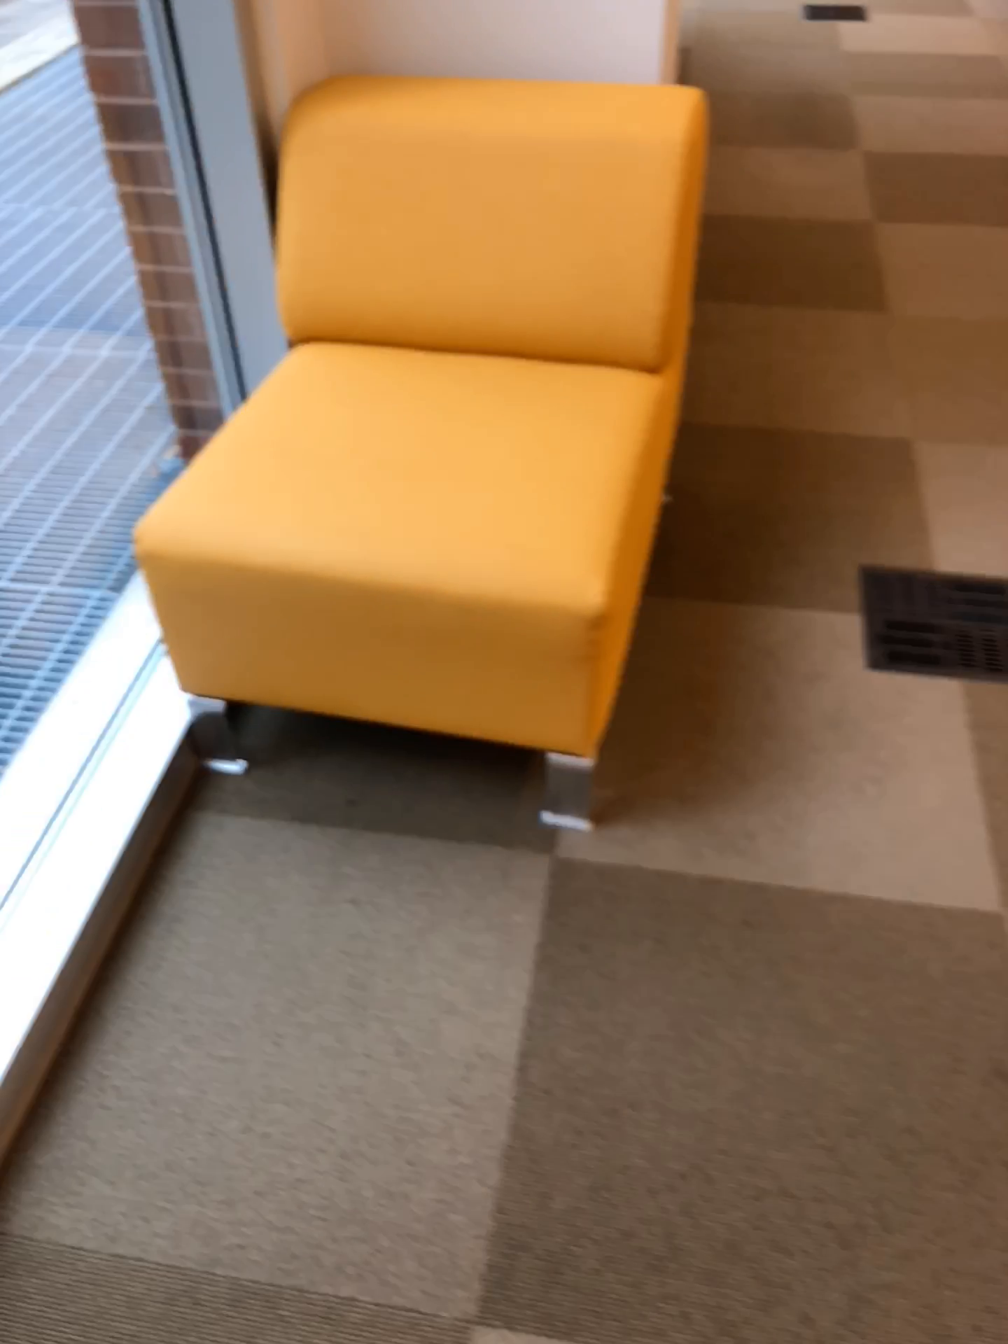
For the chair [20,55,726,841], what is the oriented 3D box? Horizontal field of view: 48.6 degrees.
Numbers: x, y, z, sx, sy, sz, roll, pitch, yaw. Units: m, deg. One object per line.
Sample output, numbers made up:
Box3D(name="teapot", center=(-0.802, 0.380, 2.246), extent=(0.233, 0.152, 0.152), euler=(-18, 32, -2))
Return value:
Box3D(name="chair", center=(-0.078, -0.378, 1.678), extent=(0.662, 0.759, 0.874), euler=(8, 43, 10))
